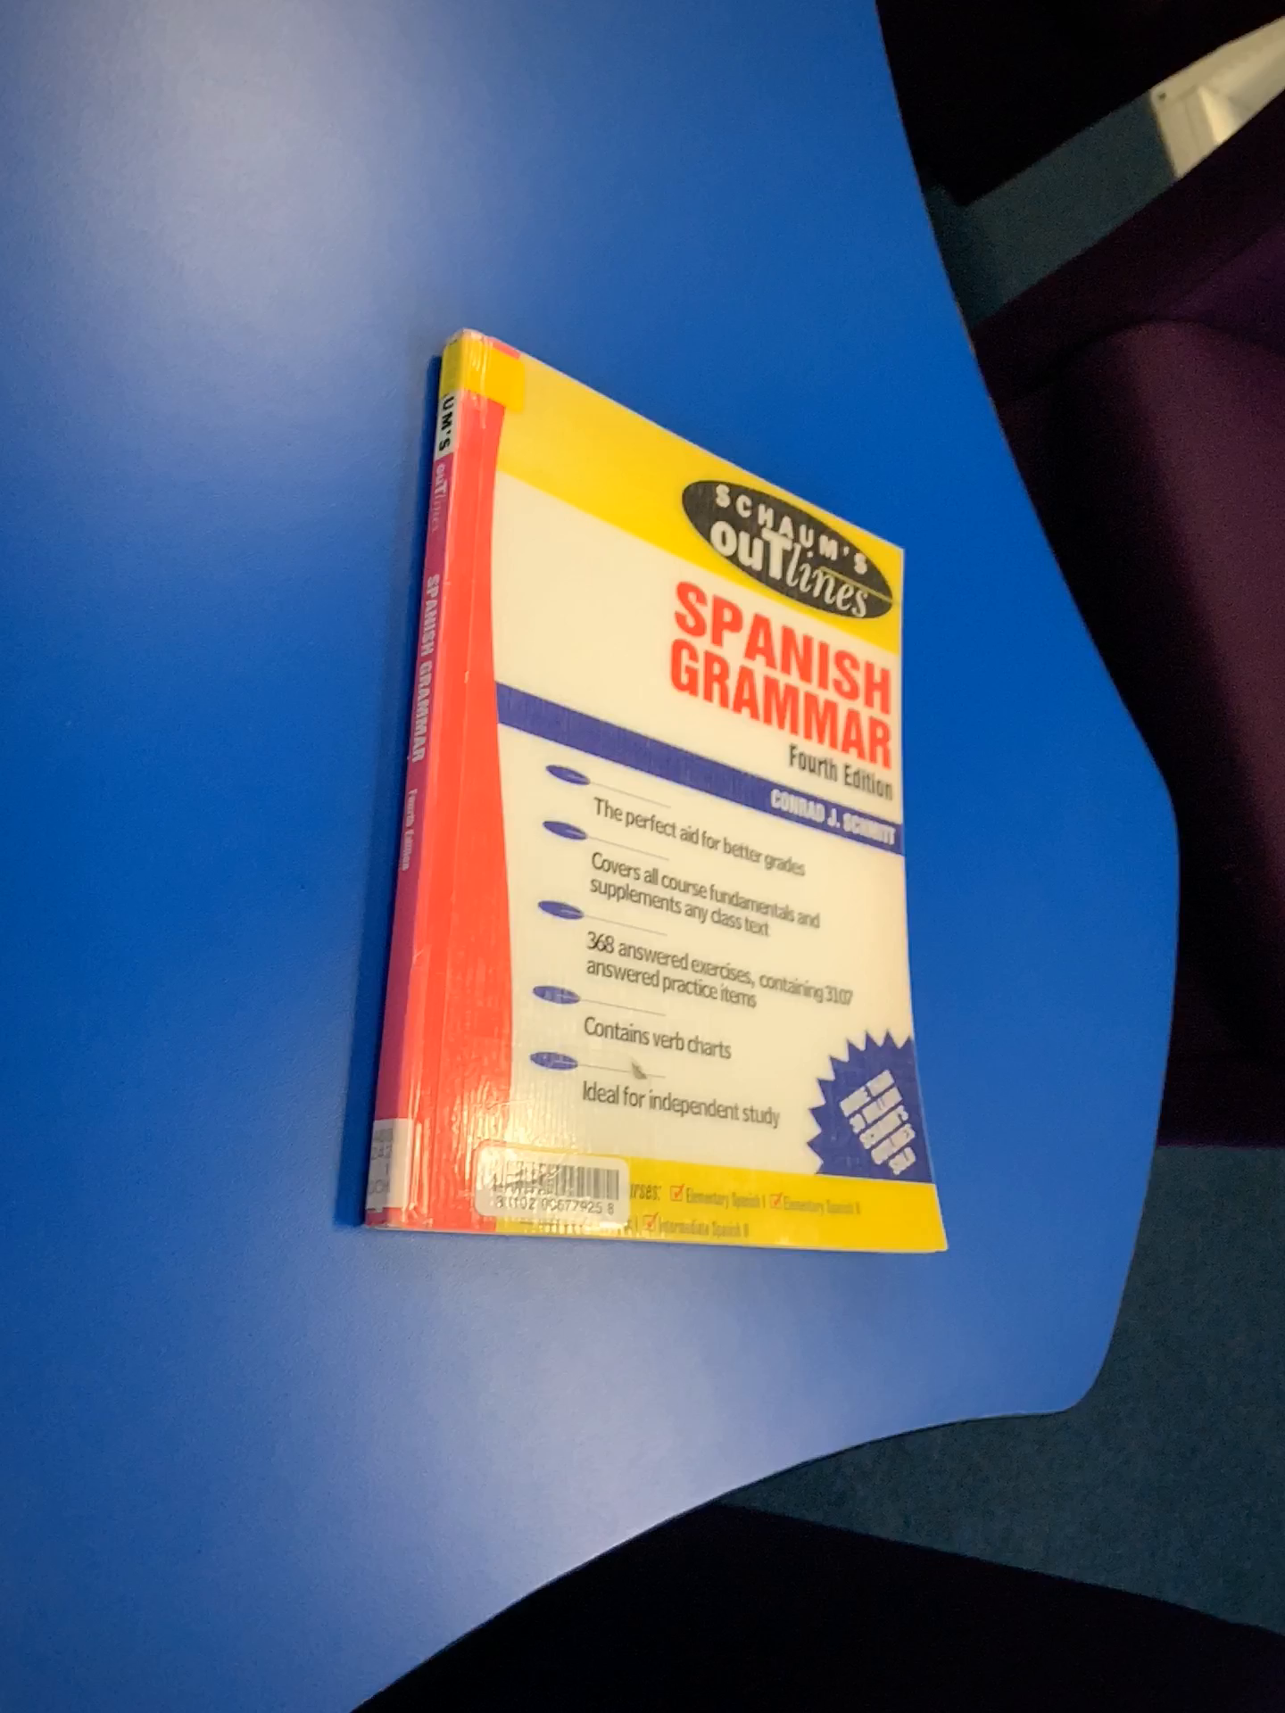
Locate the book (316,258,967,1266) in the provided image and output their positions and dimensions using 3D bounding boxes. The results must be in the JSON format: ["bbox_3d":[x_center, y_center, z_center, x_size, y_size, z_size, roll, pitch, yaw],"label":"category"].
[{"bbox_3d":[0.015,-0.017,0.426,0.211,0.040,0.281,15,67,-37],"label":"book"}]
